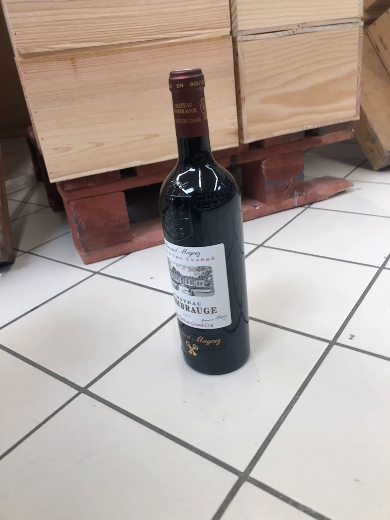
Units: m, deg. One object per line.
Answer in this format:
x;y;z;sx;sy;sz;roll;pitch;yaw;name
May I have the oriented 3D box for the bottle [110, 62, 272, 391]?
0.008;-0.028;0.419;0.090;0.288;0.090;-6;25;3;bottle
